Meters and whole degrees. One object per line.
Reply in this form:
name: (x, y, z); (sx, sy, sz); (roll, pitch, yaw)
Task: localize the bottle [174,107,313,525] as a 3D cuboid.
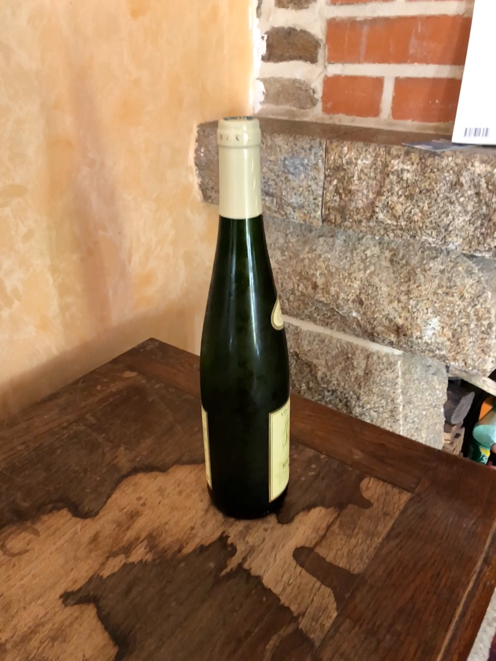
bottle: (0.000, 0.000, 0.428); (0.080, 0.318, 0.081); (0, 26, 0)
